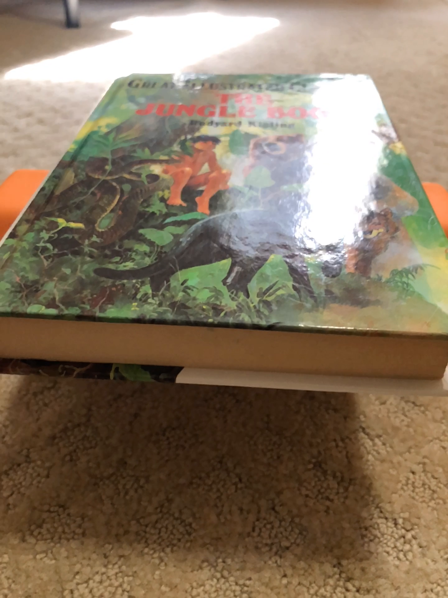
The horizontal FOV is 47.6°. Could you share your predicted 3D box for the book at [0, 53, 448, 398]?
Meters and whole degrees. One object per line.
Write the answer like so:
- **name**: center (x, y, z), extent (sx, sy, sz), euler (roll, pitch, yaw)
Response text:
- **book**: center (0.006, -0.055, 0.215), extent (0.140, 0.029, 0.209), euler (3, 42, 2)
